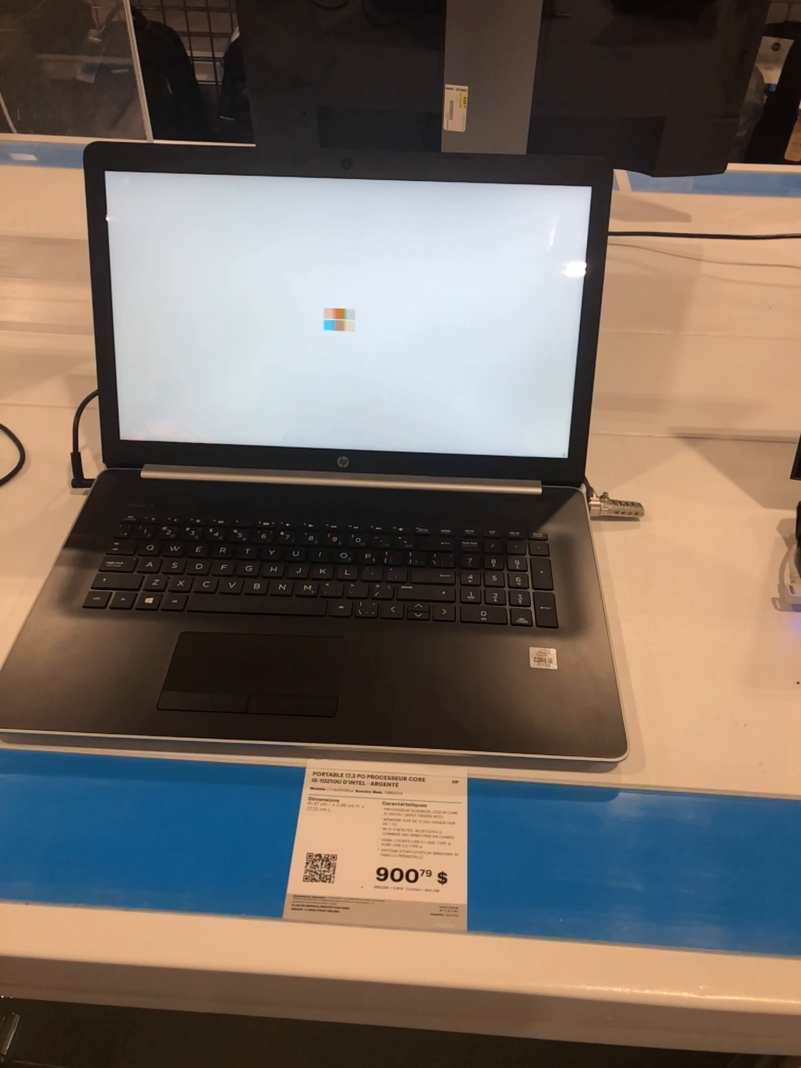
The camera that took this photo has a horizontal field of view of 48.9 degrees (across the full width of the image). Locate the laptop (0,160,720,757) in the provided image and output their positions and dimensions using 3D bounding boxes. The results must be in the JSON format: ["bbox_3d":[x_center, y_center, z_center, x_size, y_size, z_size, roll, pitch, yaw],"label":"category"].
[{"bbox_3d":[-0.056,-0.080,0.630,0.410,0.242,0.382,2,40,2],"label":"laptop"}]
